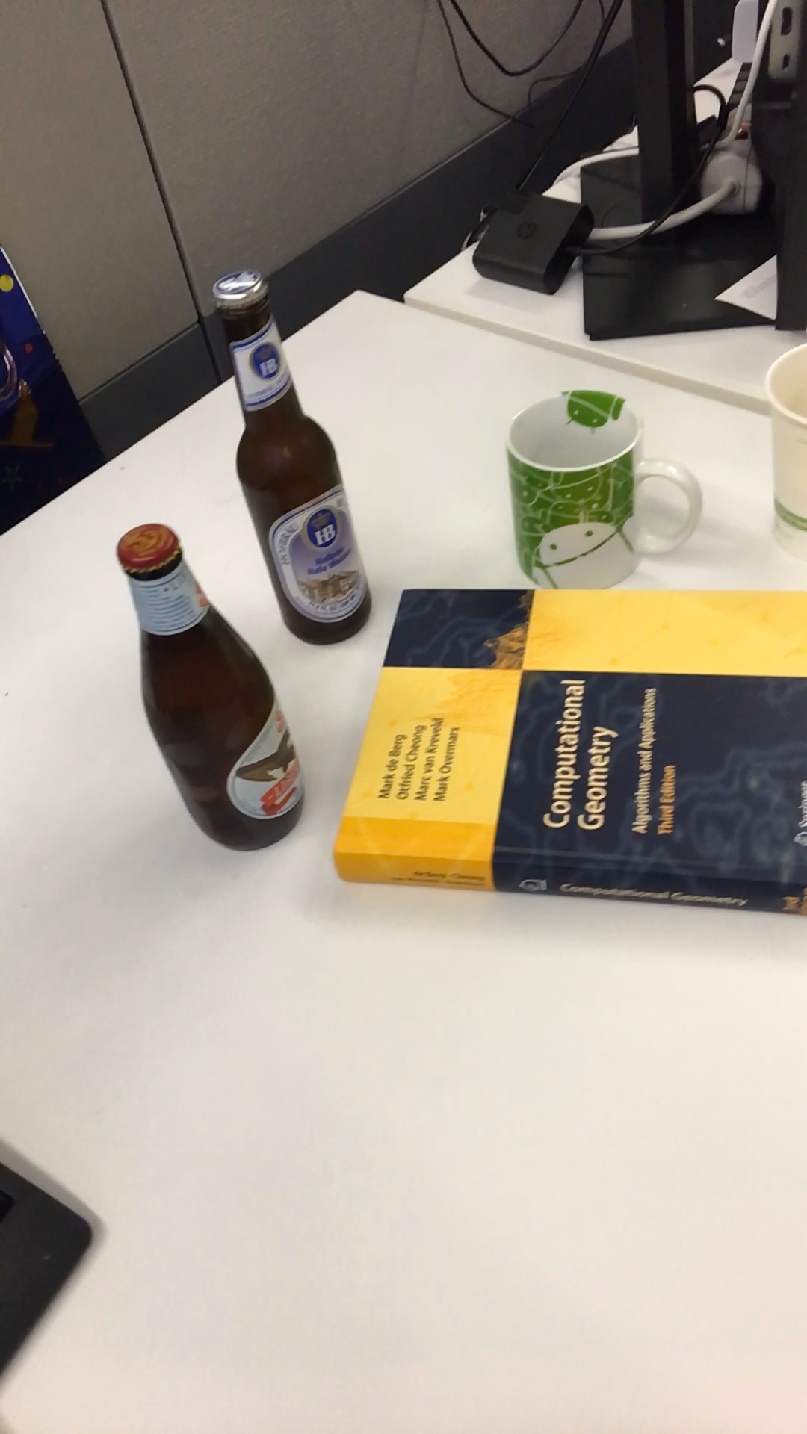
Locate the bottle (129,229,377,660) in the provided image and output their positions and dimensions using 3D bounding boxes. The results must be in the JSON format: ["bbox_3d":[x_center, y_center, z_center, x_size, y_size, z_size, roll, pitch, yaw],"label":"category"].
[{"bbox_3d":[-0.076,-0.142,0.661,0.060,0.220,0.070,-32,50,-17],"label":"bottle"}]

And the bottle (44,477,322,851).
[{"bbox_3d":[-0.095,-0.018,0.570,0.070,0.180,0.070,-6,47,6],"label":"bottle"}]
